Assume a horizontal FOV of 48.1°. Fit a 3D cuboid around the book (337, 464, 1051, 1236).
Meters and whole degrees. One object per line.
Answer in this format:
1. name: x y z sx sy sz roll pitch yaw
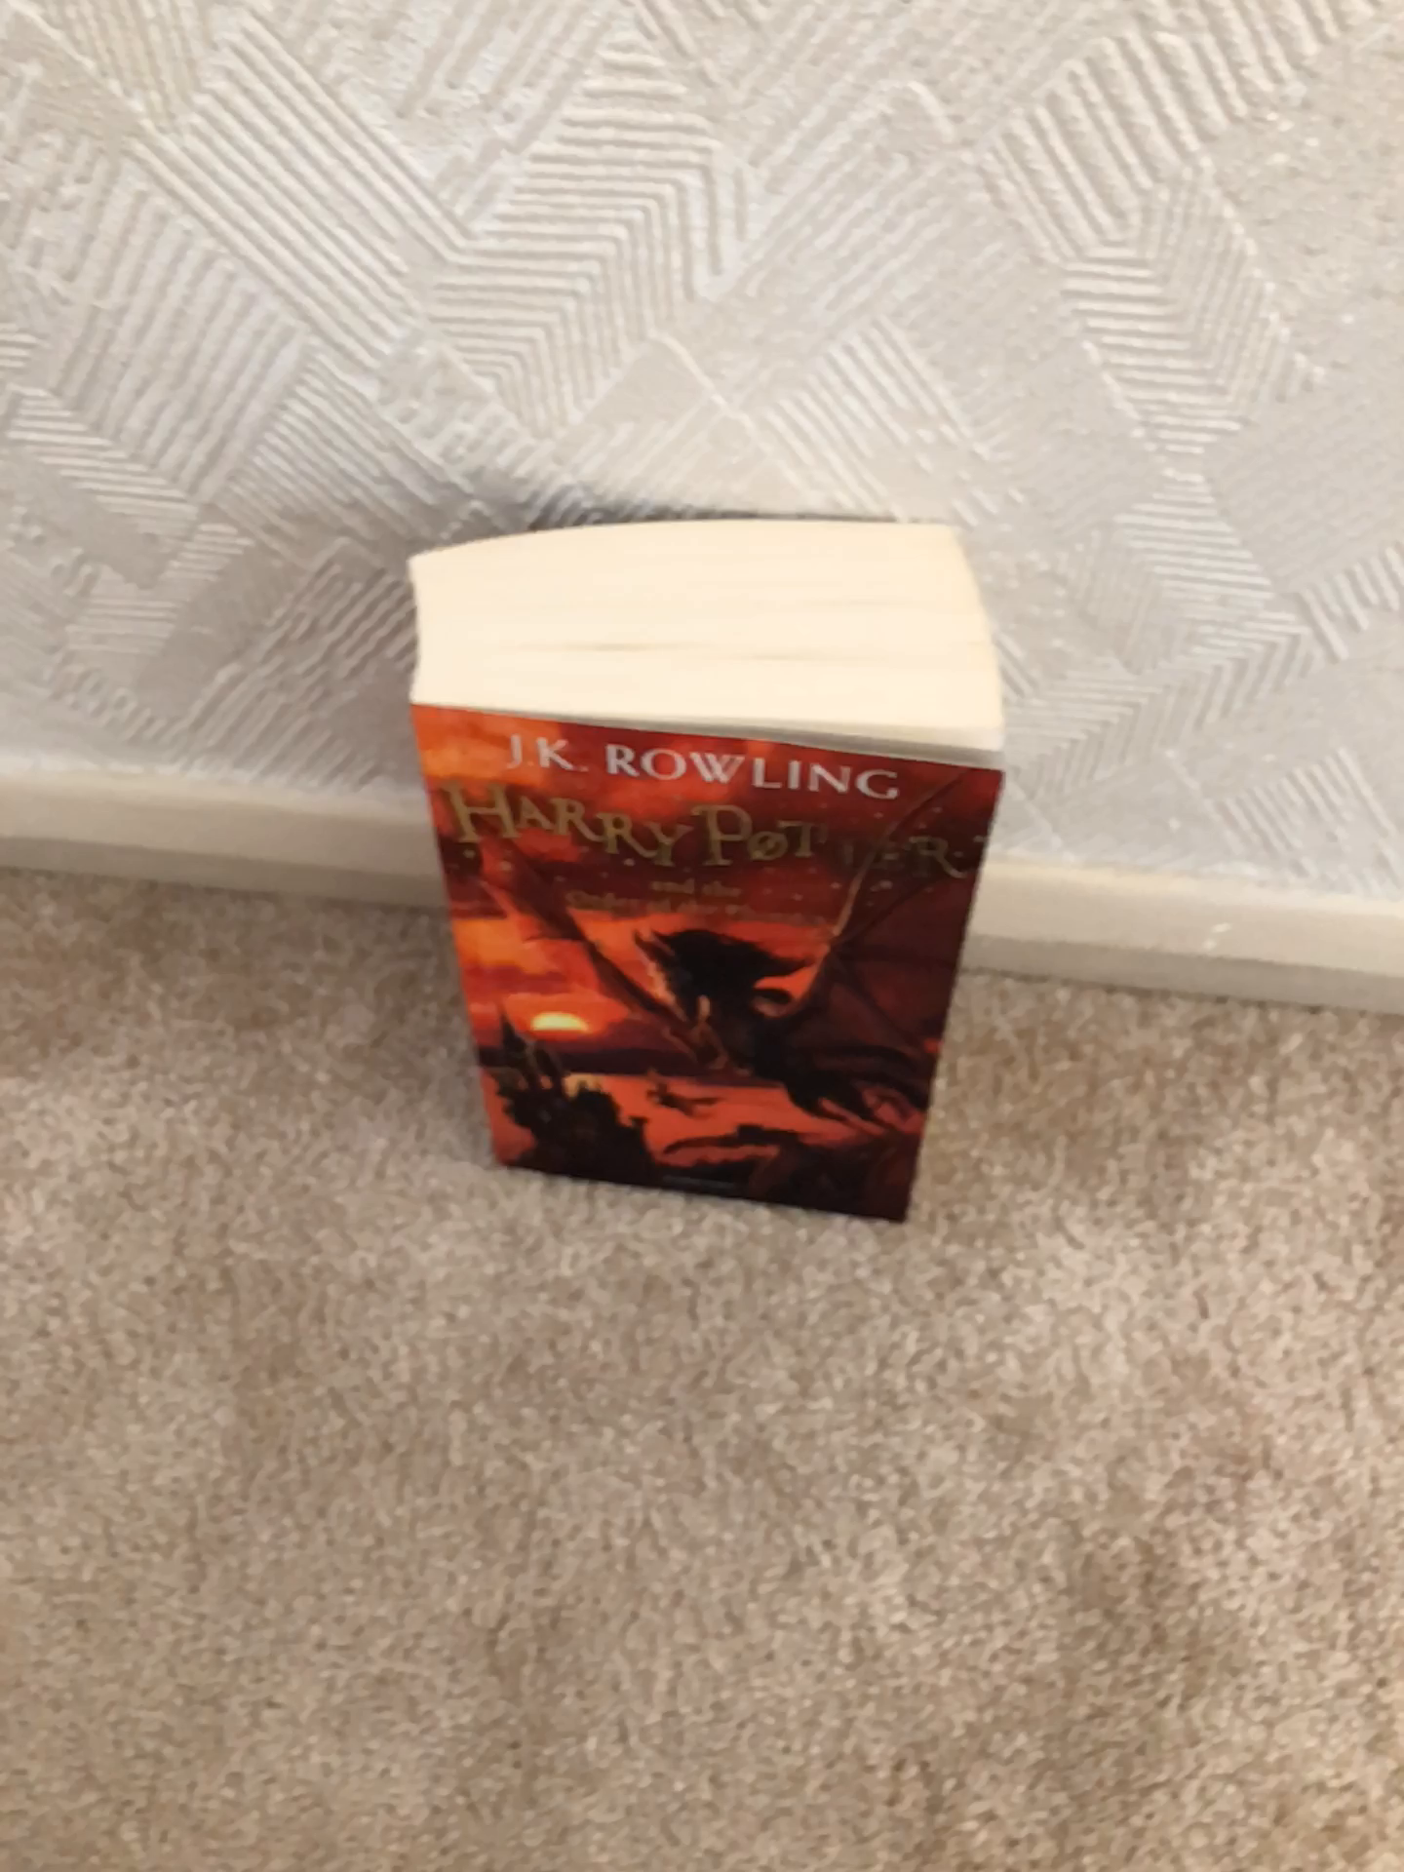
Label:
1. book: 0.003 -0.013 0.428 0.147 0.189 0.092 7 53 5
